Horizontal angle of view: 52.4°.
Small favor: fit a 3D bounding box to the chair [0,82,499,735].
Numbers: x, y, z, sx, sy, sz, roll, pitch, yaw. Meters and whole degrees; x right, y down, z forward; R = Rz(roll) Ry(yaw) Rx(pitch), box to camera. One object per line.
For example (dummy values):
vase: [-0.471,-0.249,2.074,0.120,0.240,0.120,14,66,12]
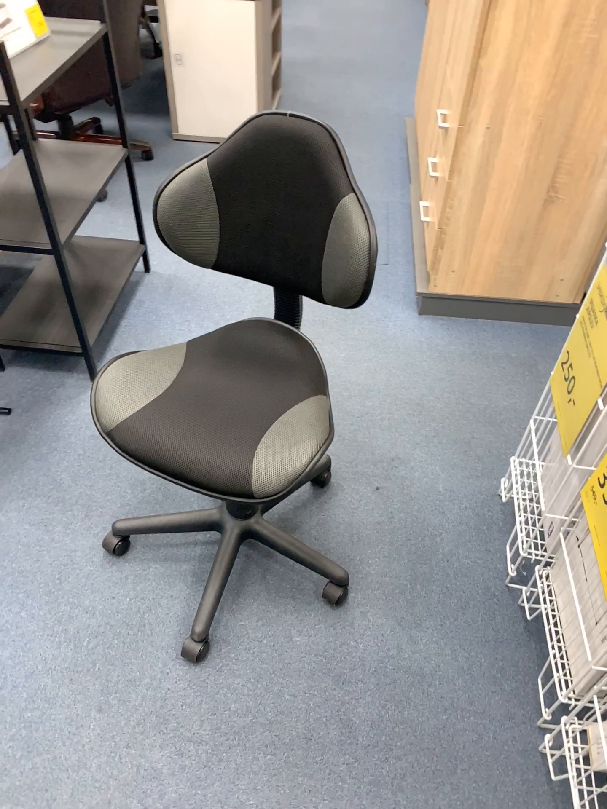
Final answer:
chair: [-0.120,0.021,1.213,0.631,0.916,0.692,19,48,15]
